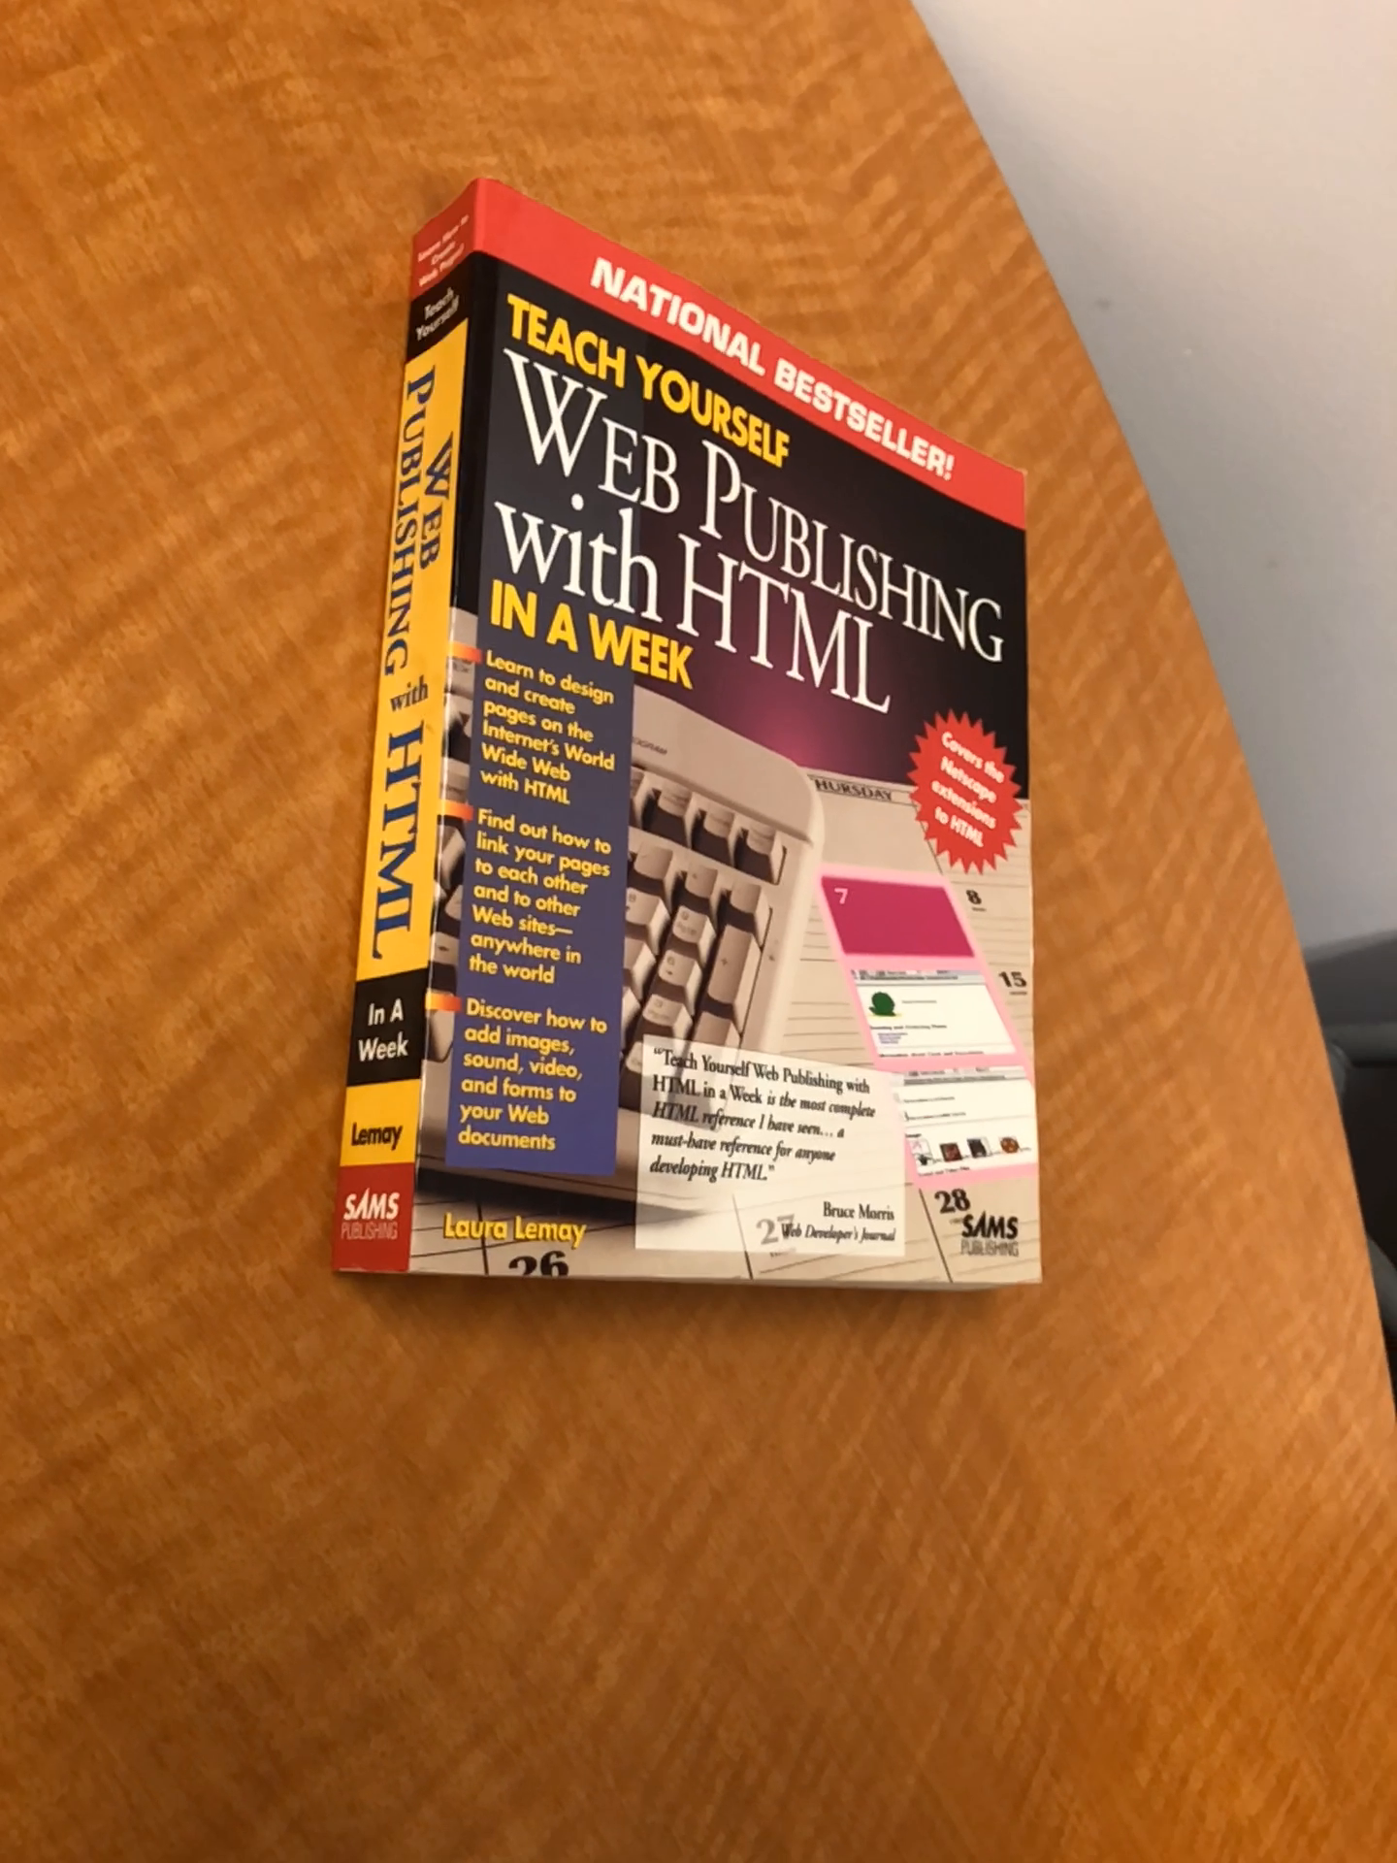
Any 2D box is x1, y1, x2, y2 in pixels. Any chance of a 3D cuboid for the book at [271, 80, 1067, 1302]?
[{"bbox_3d":[0.011,-0.038,0.384,0.211,0.040,0.250,13,73,-41],"label":"book"}]
